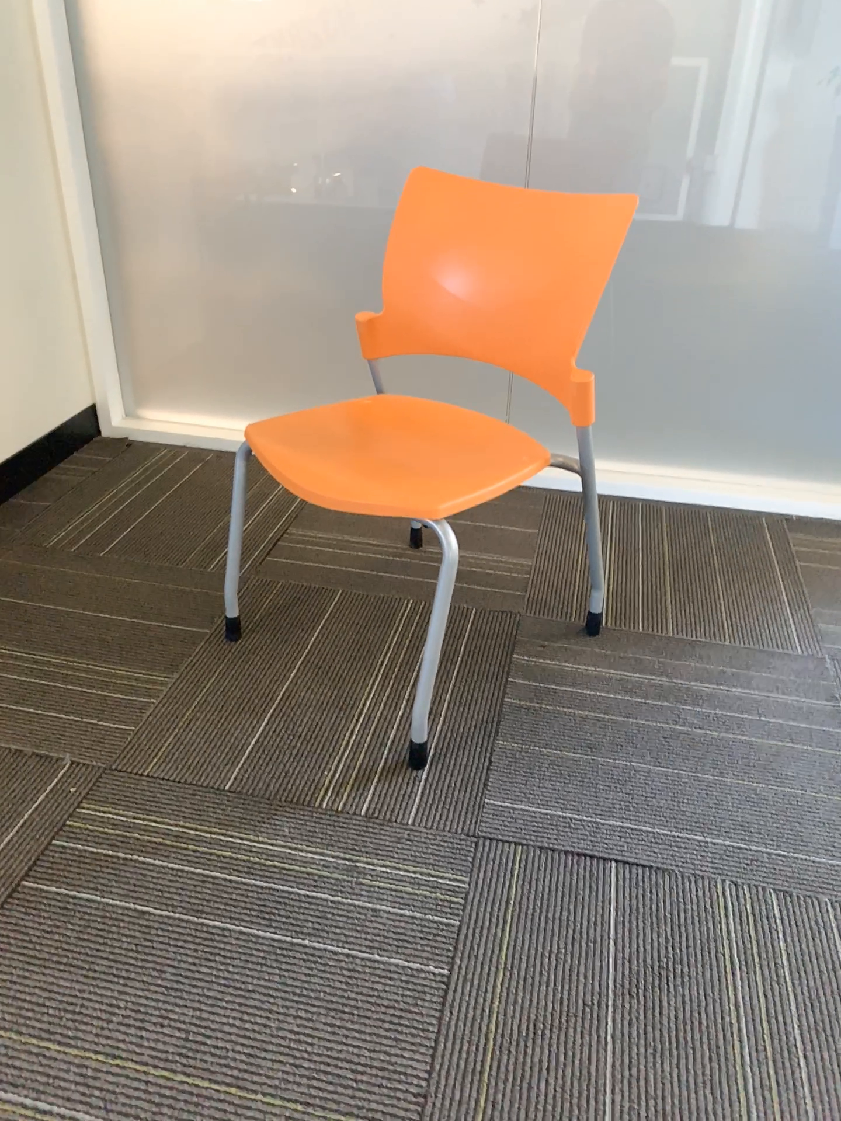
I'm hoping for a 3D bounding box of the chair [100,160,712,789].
[{"bbox_3d":[-0.023,-0.235,1.547,0.683,0.795,0.682,25,37,34],"label":"chair"}]
